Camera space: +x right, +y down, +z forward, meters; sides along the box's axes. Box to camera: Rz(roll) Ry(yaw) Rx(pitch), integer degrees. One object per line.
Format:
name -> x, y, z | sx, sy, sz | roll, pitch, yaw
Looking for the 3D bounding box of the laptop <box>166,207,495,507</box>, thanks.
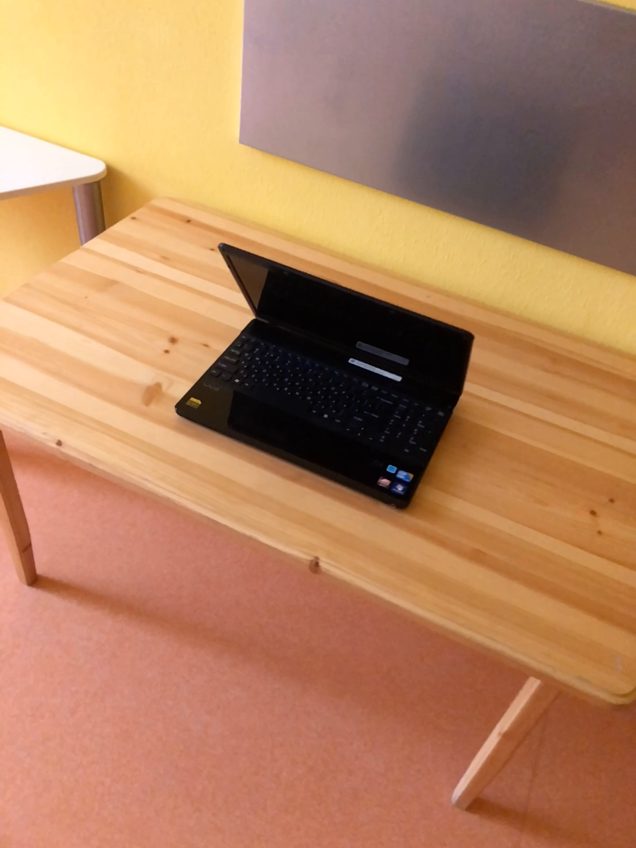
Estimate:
laptop -> 0.014, -0.106, 0.985 | 0.361, 0.200, 0.249 | 22, 47, 14
